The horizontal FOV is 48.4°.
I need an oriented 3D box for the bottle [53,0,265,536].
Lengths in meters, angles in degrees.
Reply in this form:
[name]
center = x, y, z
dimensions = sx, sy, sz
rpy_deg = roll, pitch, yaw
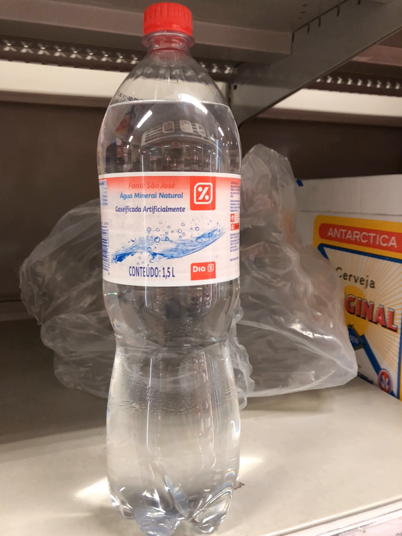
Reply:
[bottle]
center = -0.014, -0.007, 0.286
dimensions = 0.100, 0.319, 0.100
rpy_deg = 0, 10, 0
